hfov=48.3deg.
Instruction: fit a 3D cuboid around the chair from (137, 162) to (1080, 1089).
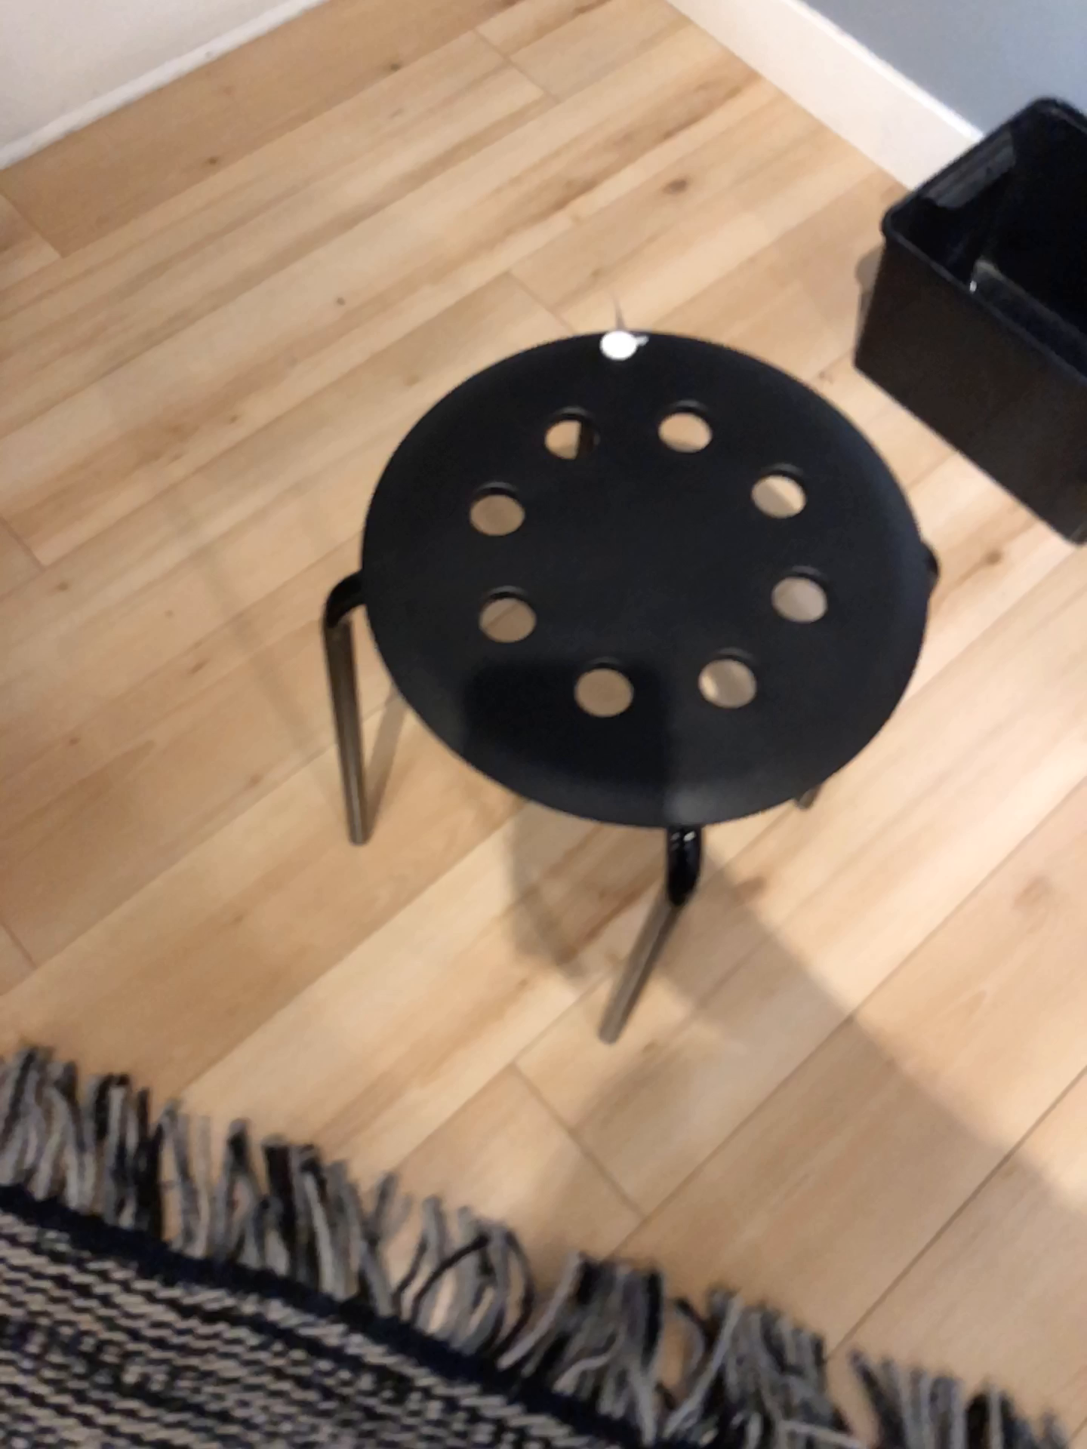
[{"bbox_3d":[0.035,-0.041,0.860,0.380,0.400,0.370,39,70,14],"label":"chair"}]
